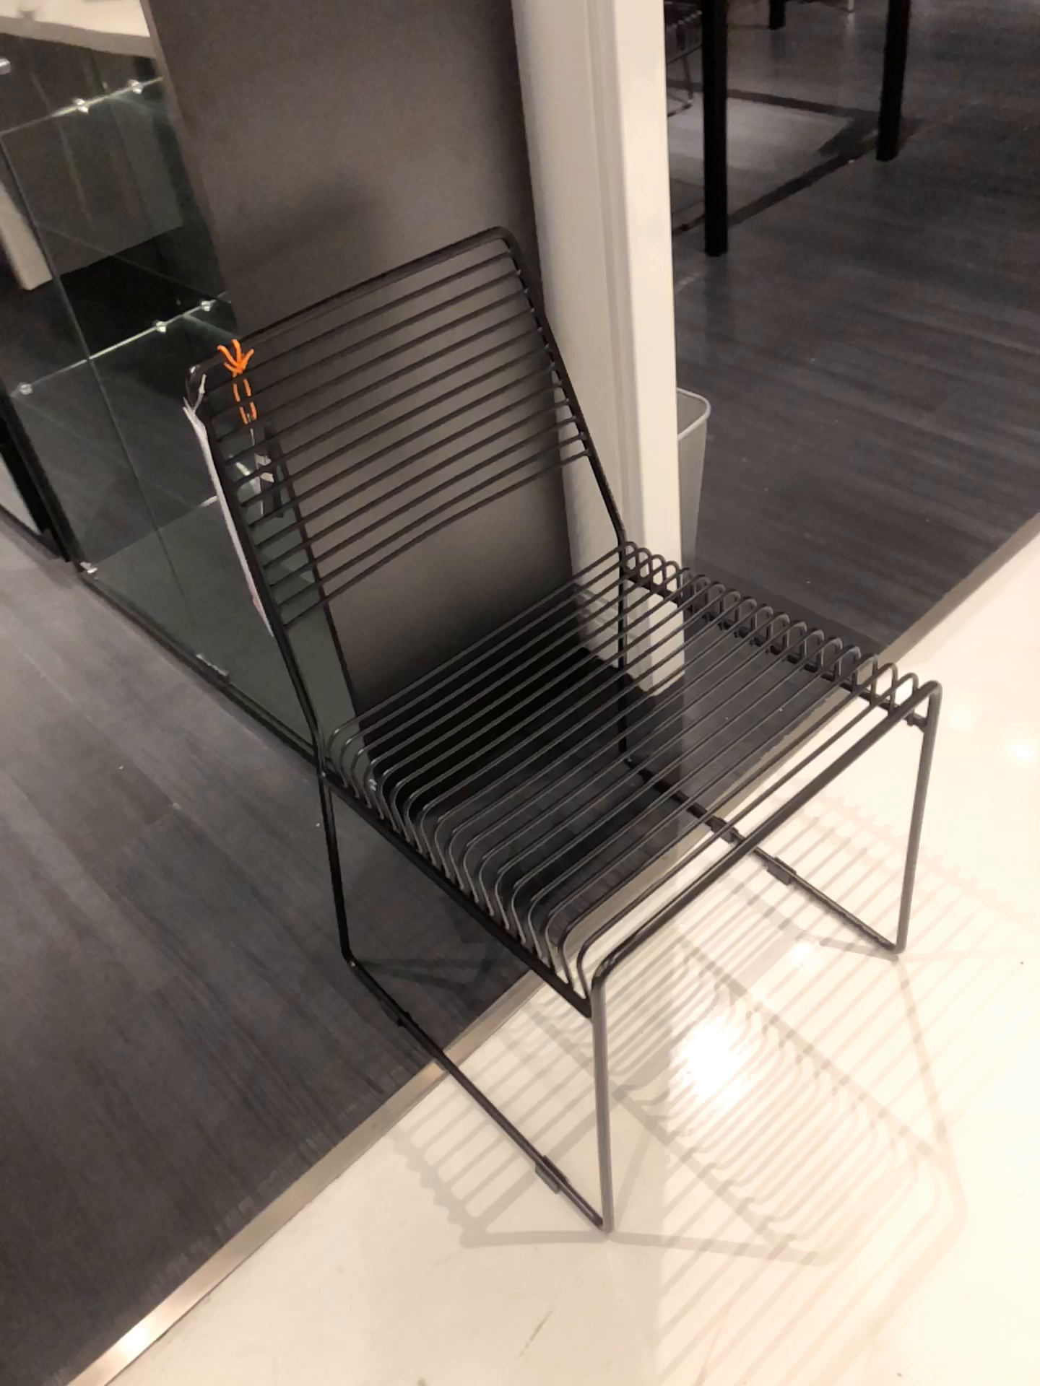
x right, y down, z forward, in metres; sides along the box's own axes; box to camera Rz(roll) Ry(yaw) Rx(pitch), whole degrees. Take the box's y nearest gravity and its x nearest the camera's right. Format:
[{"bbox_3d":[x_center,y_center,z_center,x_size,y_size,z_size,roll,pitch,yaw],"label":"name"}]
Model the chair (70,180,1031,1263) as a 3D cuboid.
[{"bbox_3d":[0.052,0.026,1.111,0.521,0.764,0.502,-34,48,-24],"label":"chair"}]
